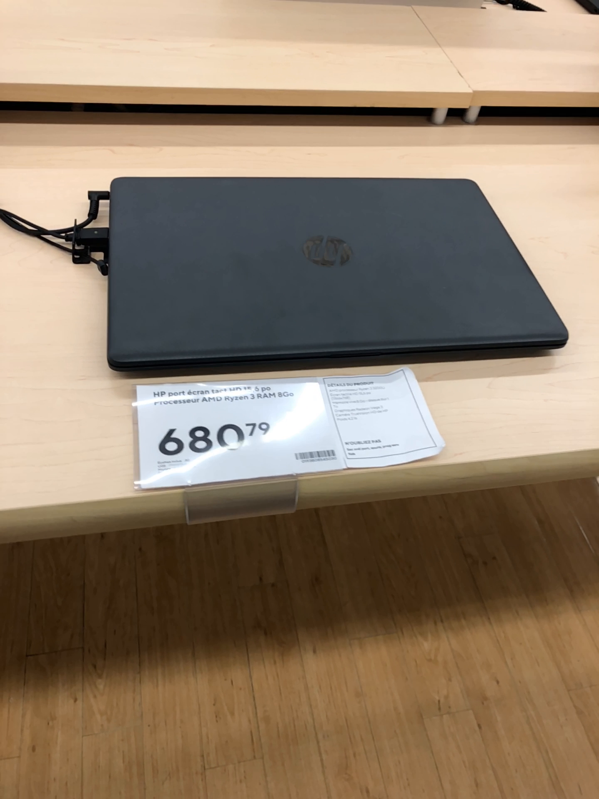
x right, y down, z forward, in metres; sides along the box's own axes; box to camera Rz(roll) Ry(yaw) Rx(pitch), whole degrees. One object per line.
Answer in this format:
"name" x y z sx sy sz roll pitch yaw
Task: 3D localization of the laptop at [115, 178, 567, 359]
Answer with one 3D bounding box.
"laptop" 0.025 -0.136 0.606 0.374 0.005 0.245 -4 49 -12
